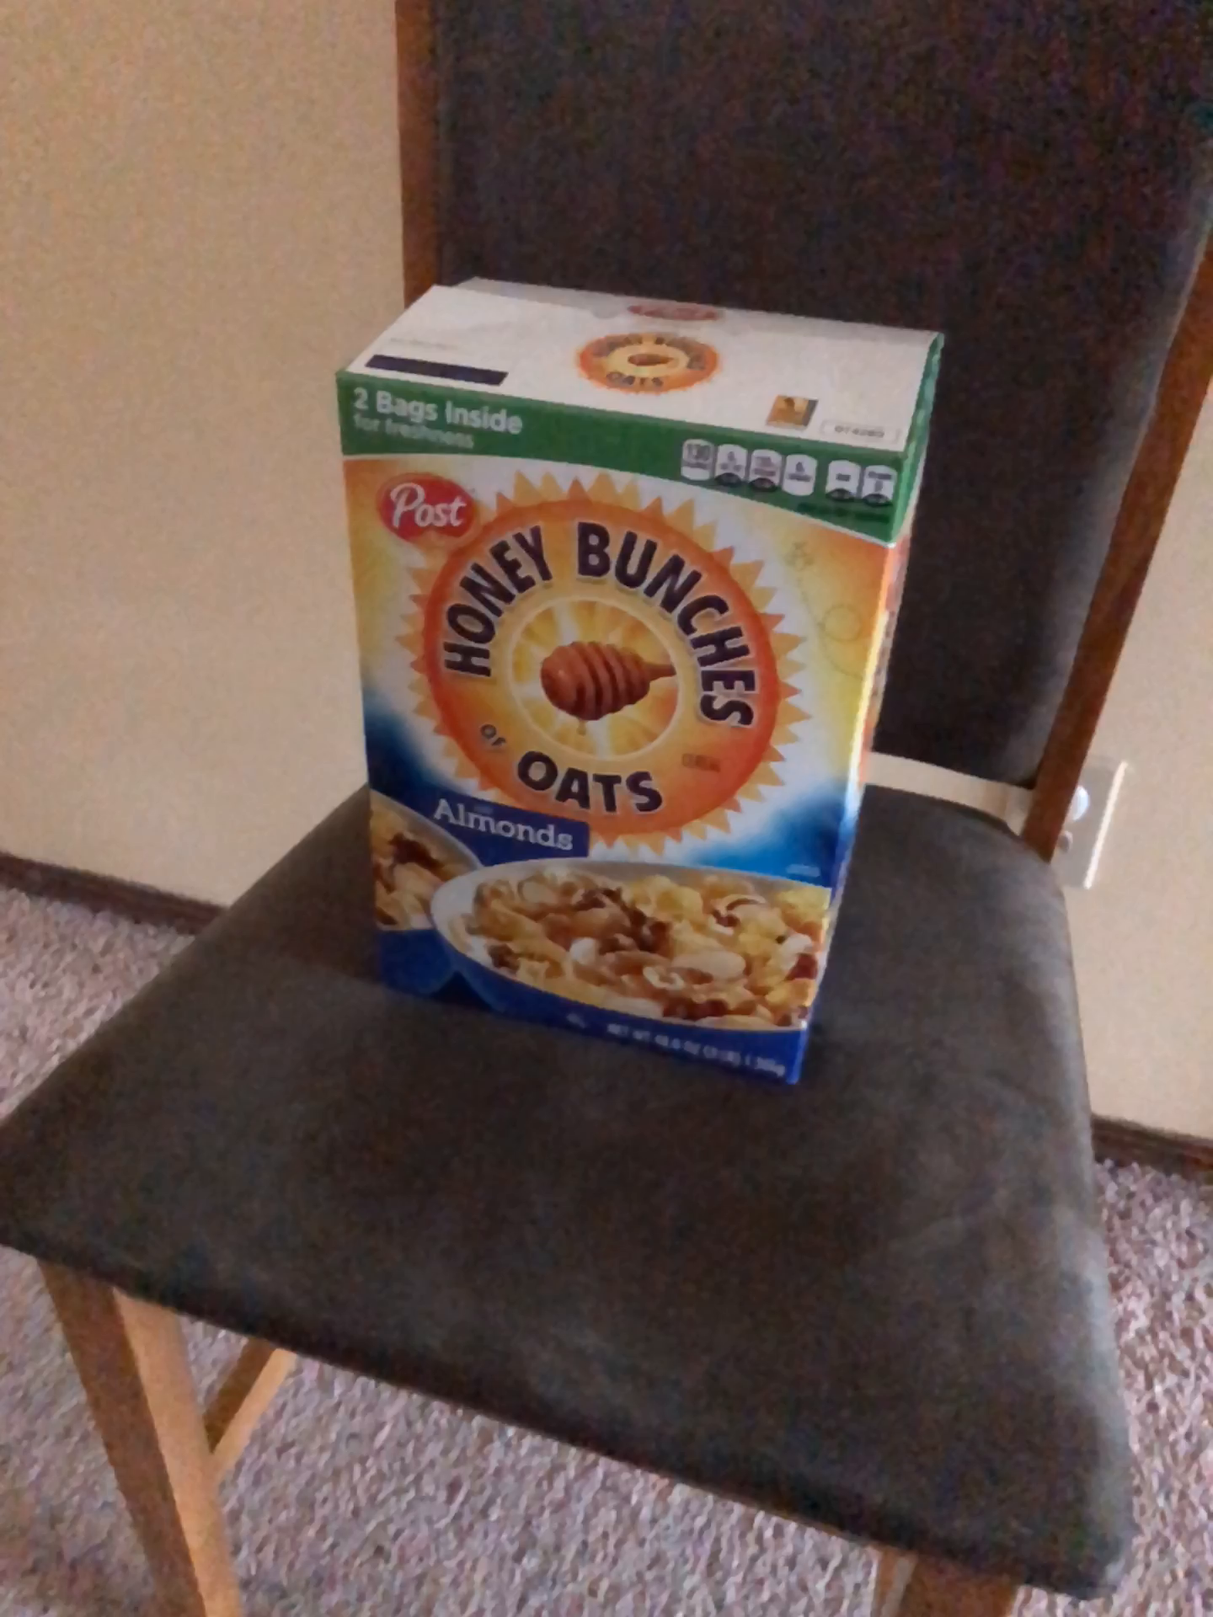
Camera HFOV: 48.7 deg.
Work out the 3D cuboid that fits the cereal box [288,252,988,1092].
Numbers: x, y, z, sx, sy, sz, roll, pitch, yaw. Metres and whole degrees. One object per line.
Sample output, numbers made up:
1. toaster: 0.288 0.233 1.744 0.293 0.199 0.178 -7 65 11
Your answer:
1. cereal box: 0.017 -0.061 0.569 0.220 0.279 0.160 12 35 14
